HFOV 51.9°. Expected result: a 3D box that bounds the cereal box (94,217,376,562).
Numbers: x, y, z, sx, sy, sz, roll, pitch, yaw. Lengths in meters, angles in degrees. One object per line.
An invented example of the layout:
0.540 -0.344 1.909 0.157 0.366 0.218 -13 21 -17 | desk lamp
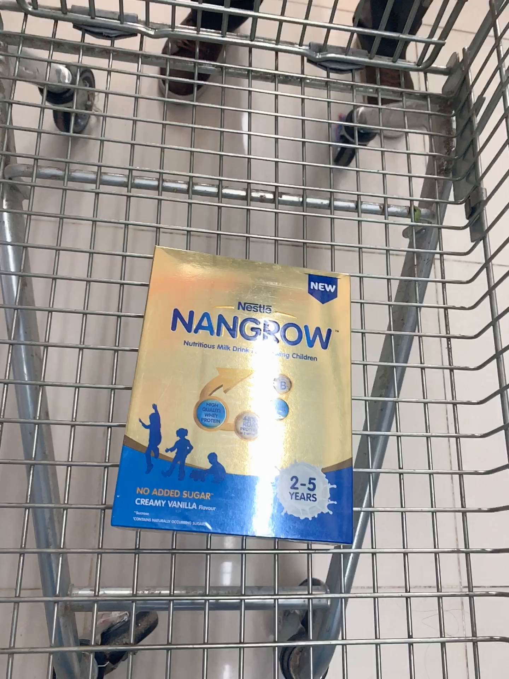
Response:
-0.006 0.032 0.335 0.150 0.060 0.190 7 73 -7 | cereal box
